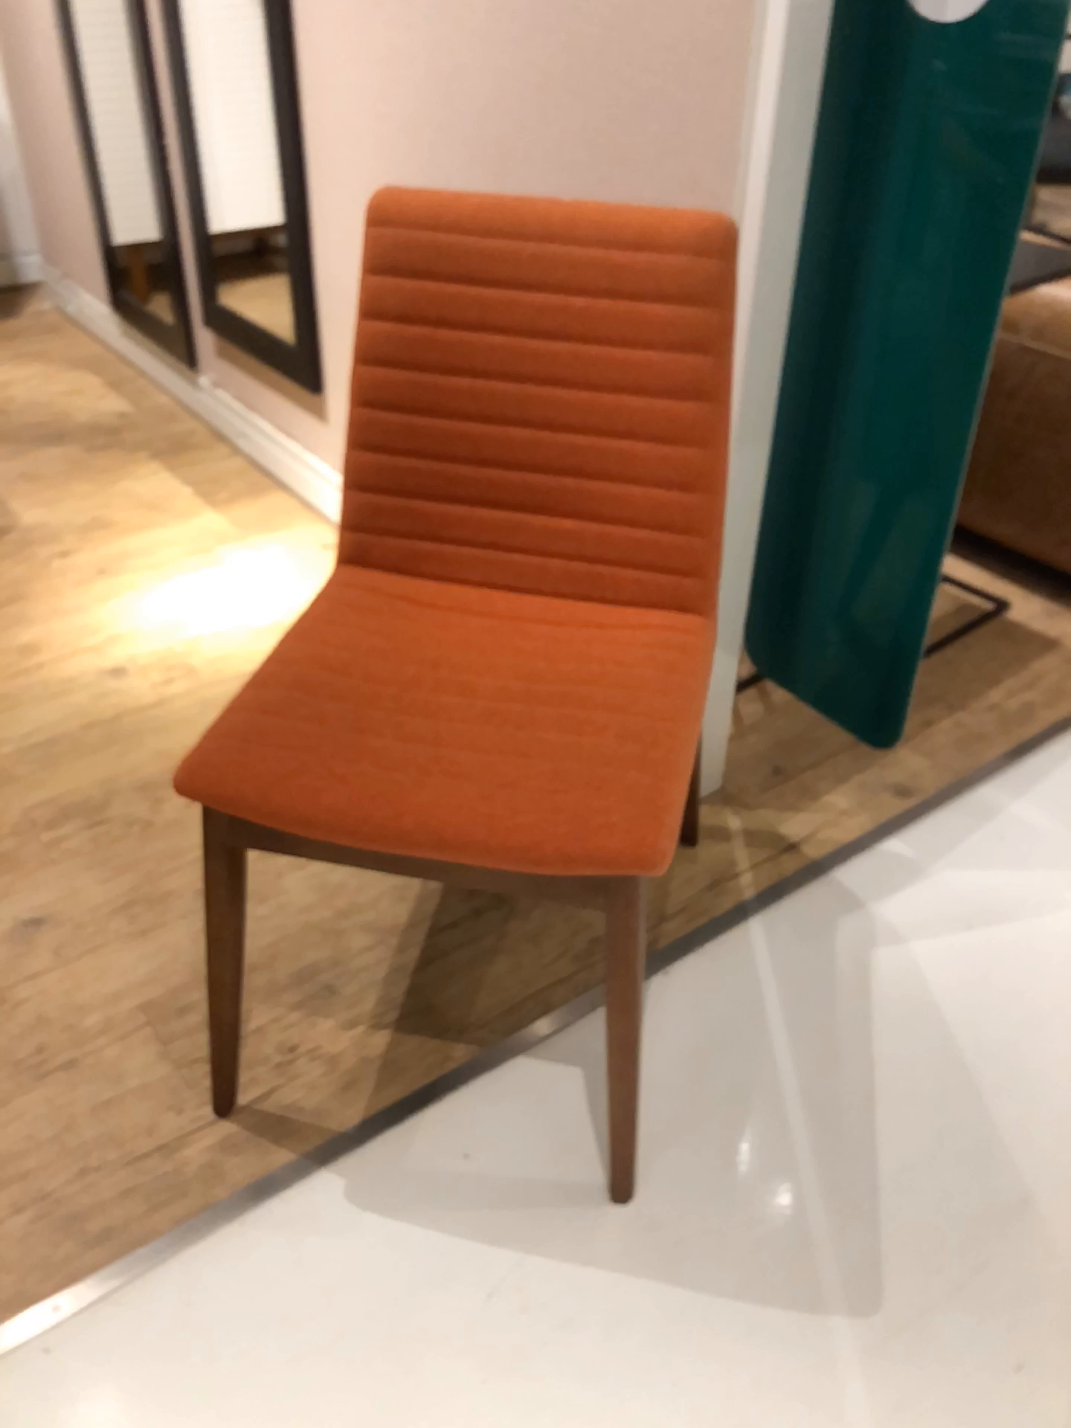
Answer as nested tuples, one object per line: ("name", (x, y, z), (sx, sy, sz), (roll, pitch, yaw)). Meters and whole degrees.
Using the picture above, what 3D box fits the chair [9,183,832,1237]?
("chair", (-0.034, -0.034, 1.243), (0.530, 0.814, 0.635), (8, 35, 10))
